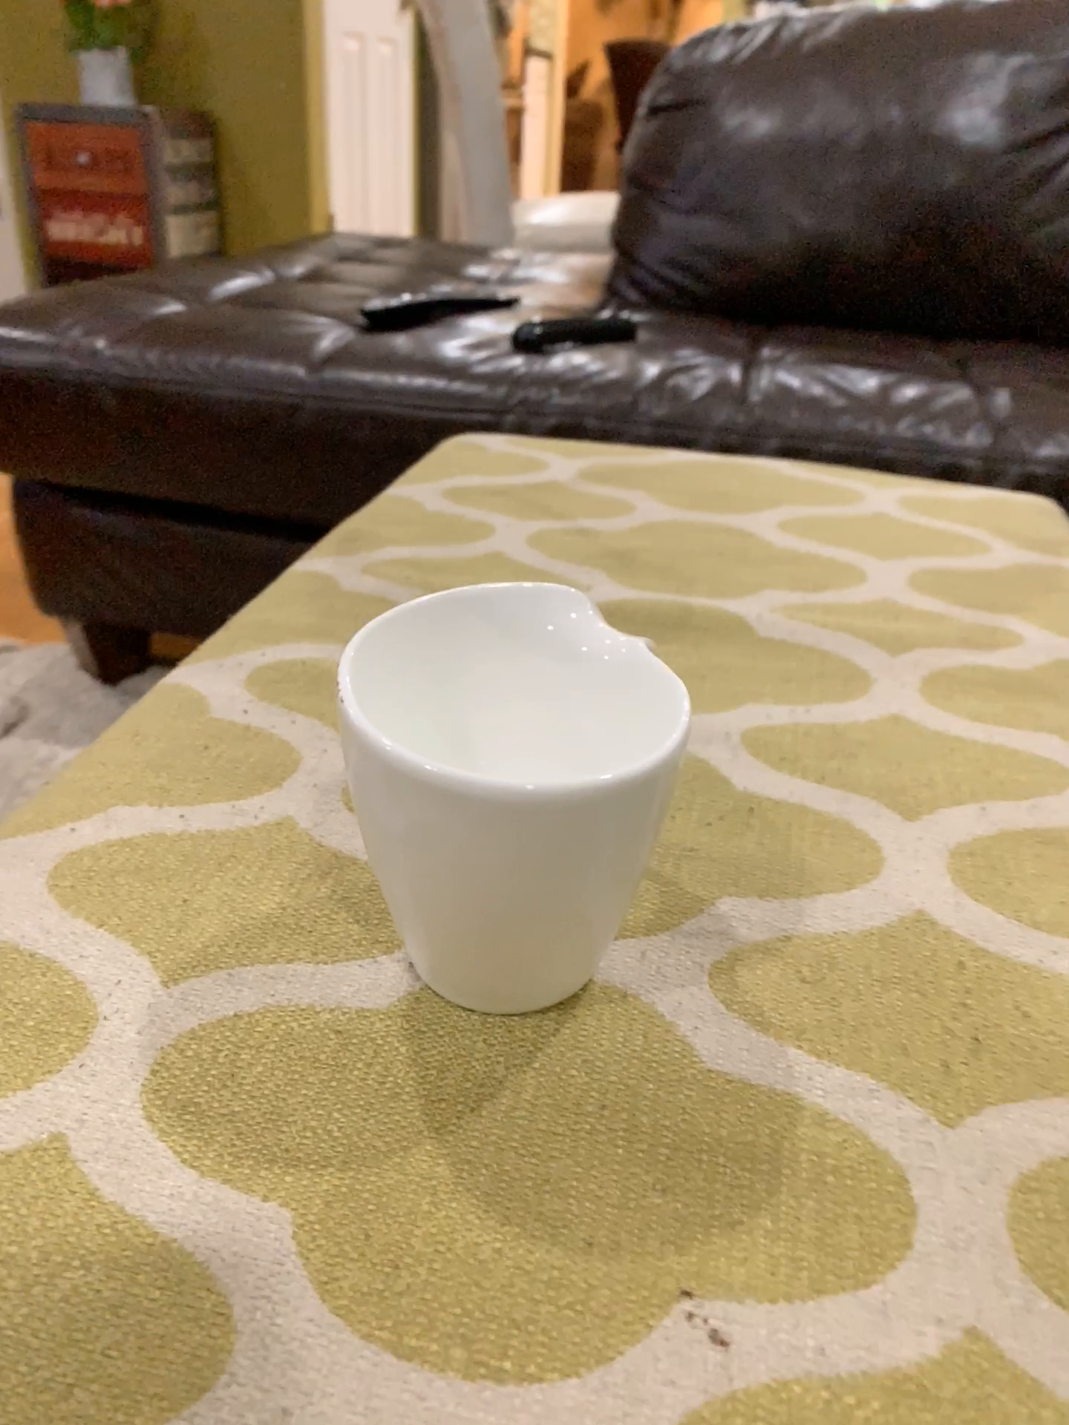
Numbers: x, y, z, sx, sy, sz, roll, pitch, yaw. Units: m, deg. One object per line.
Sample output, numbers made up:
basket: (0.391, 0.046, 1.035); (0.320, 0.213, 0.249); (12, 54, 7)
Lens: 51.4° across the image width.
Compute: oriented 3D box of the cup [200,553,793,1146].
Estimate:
cup: (-0.007, 0.022, 0.277); (0.089, 0.079, 0.109); (23, 34, 33)
